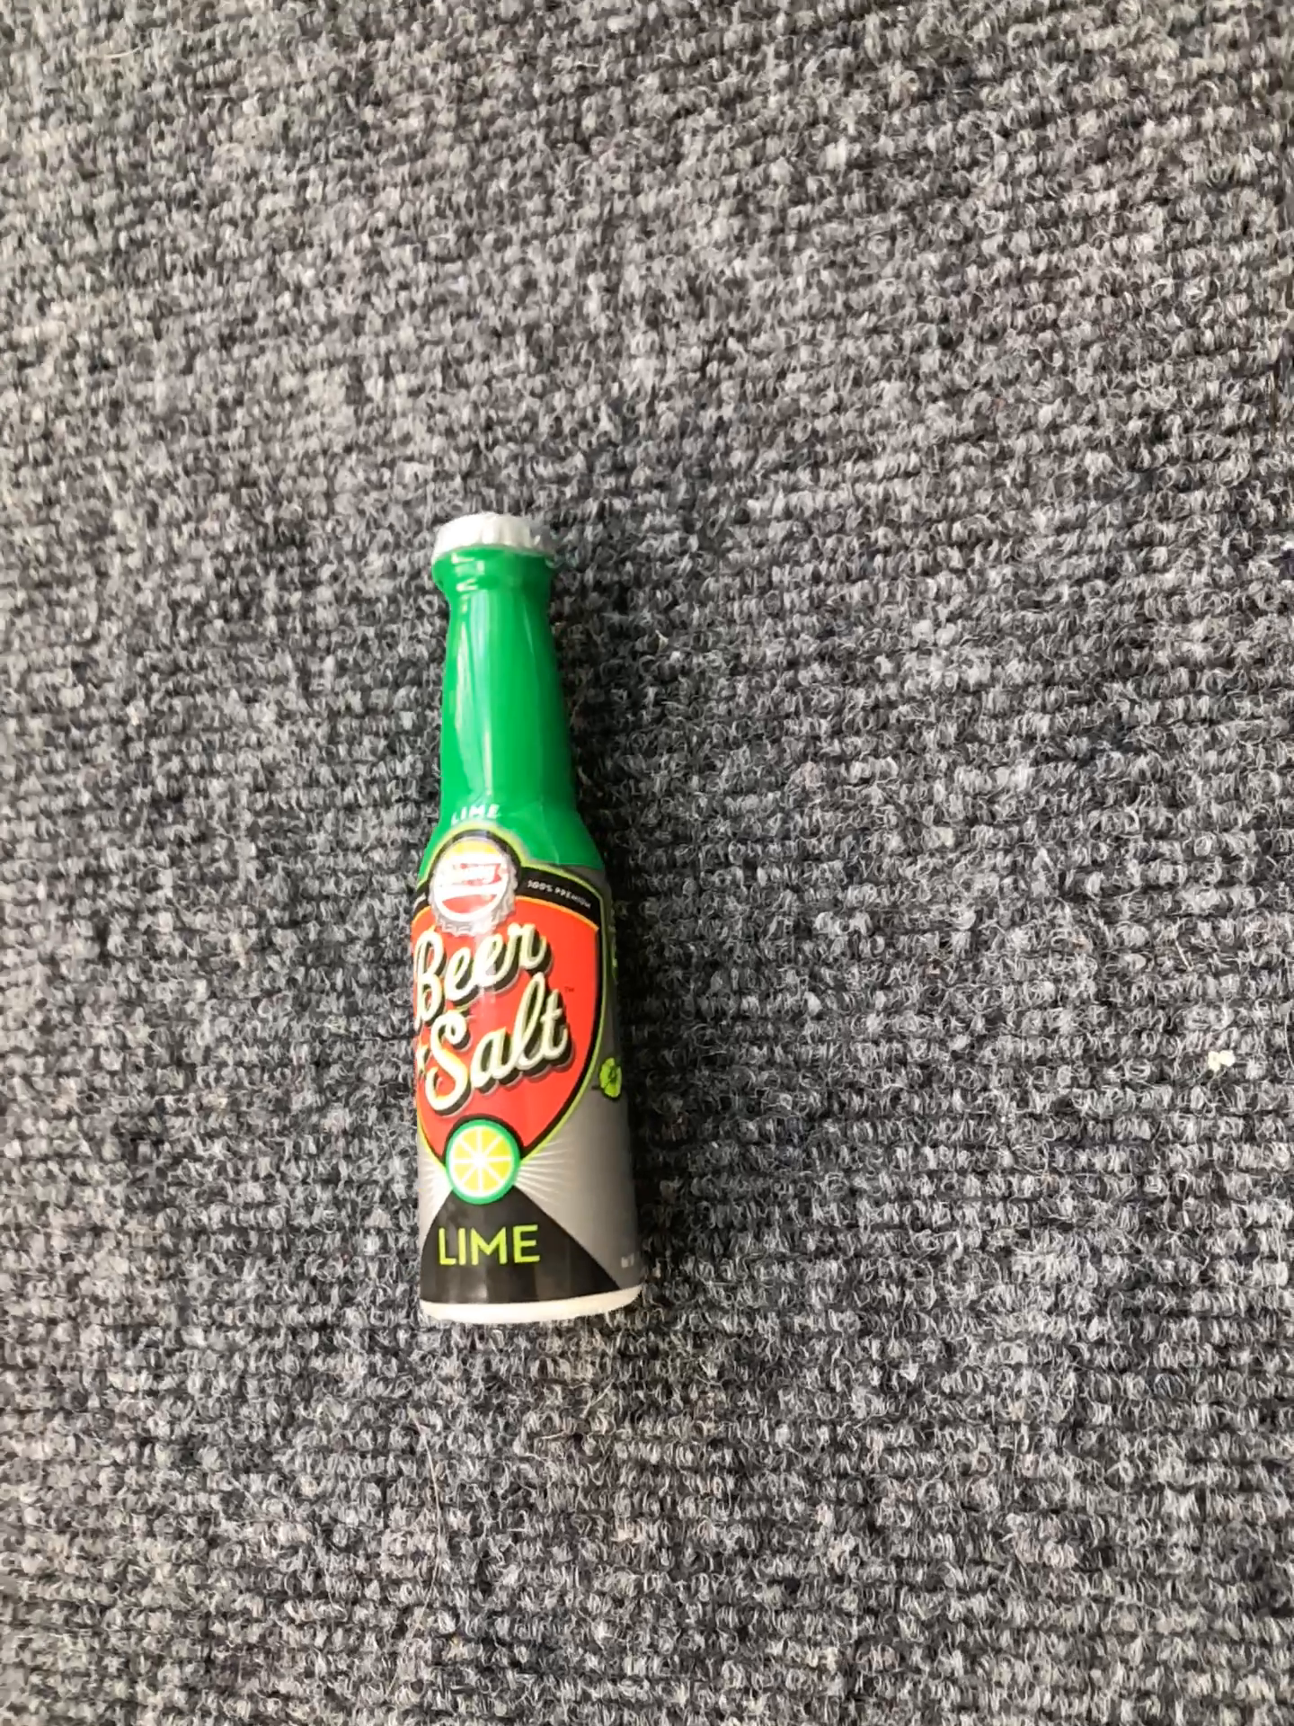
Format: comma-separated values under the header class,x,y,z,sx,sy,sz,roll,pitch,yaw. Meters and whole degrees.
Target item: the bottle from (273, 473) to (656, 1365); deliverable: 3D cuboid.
class,x,y,z,sx,sy,sz,roll,pitch,yaw
bottle,-0.023,0.007,0.183,0.033,0.030,0.101,-7,82,16
